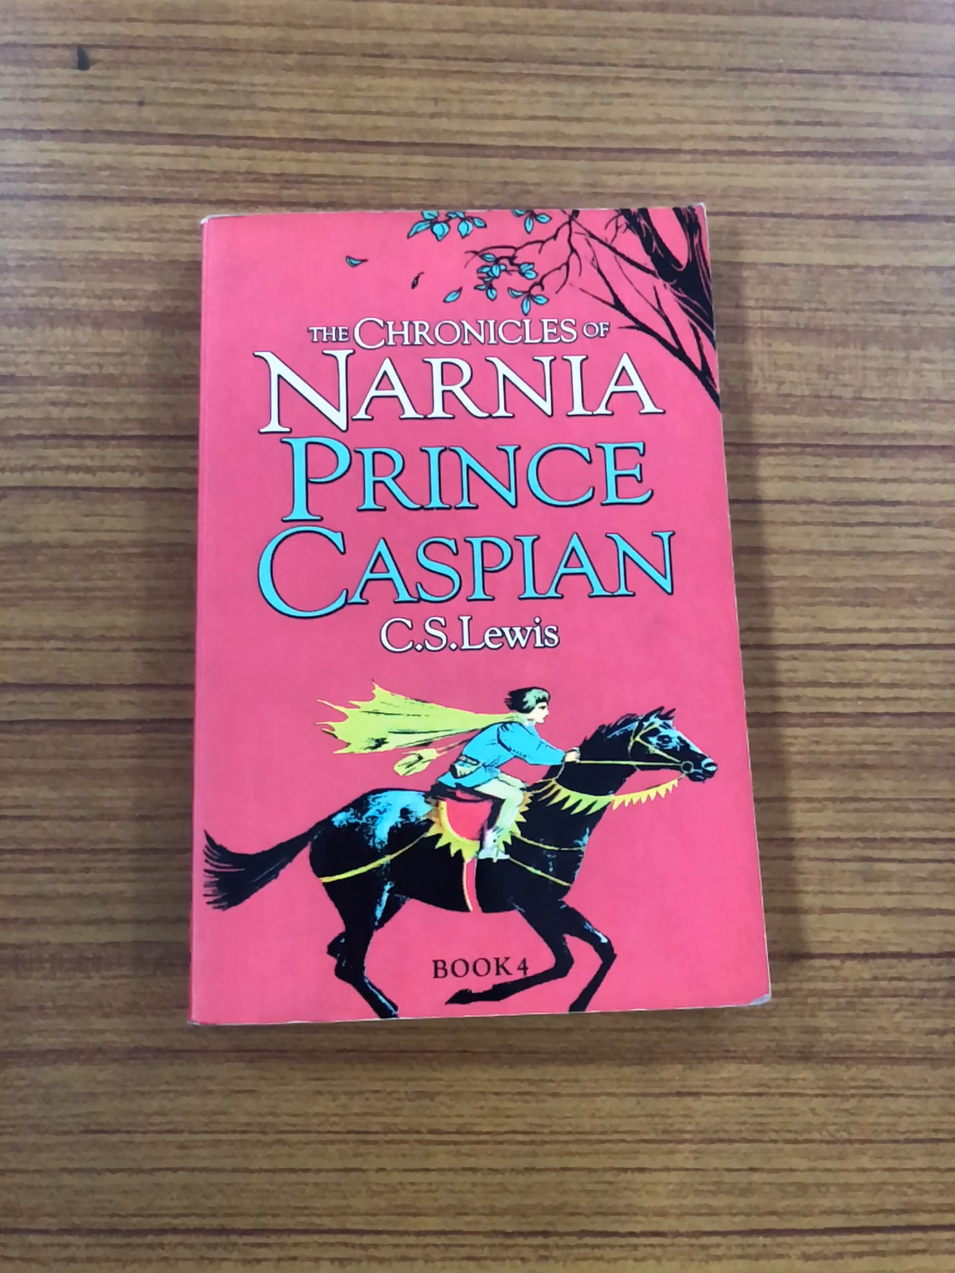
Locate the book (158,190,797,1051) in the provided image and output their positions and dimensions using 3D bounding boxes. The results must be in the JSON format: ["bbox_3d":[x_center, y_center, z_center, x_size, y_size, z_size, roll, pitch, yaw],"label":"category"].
[{"bbox_3d":[-0.002,-0.008,0.249,0.130,0.030,0.190,-1,80,-2],"label":"book"}]
